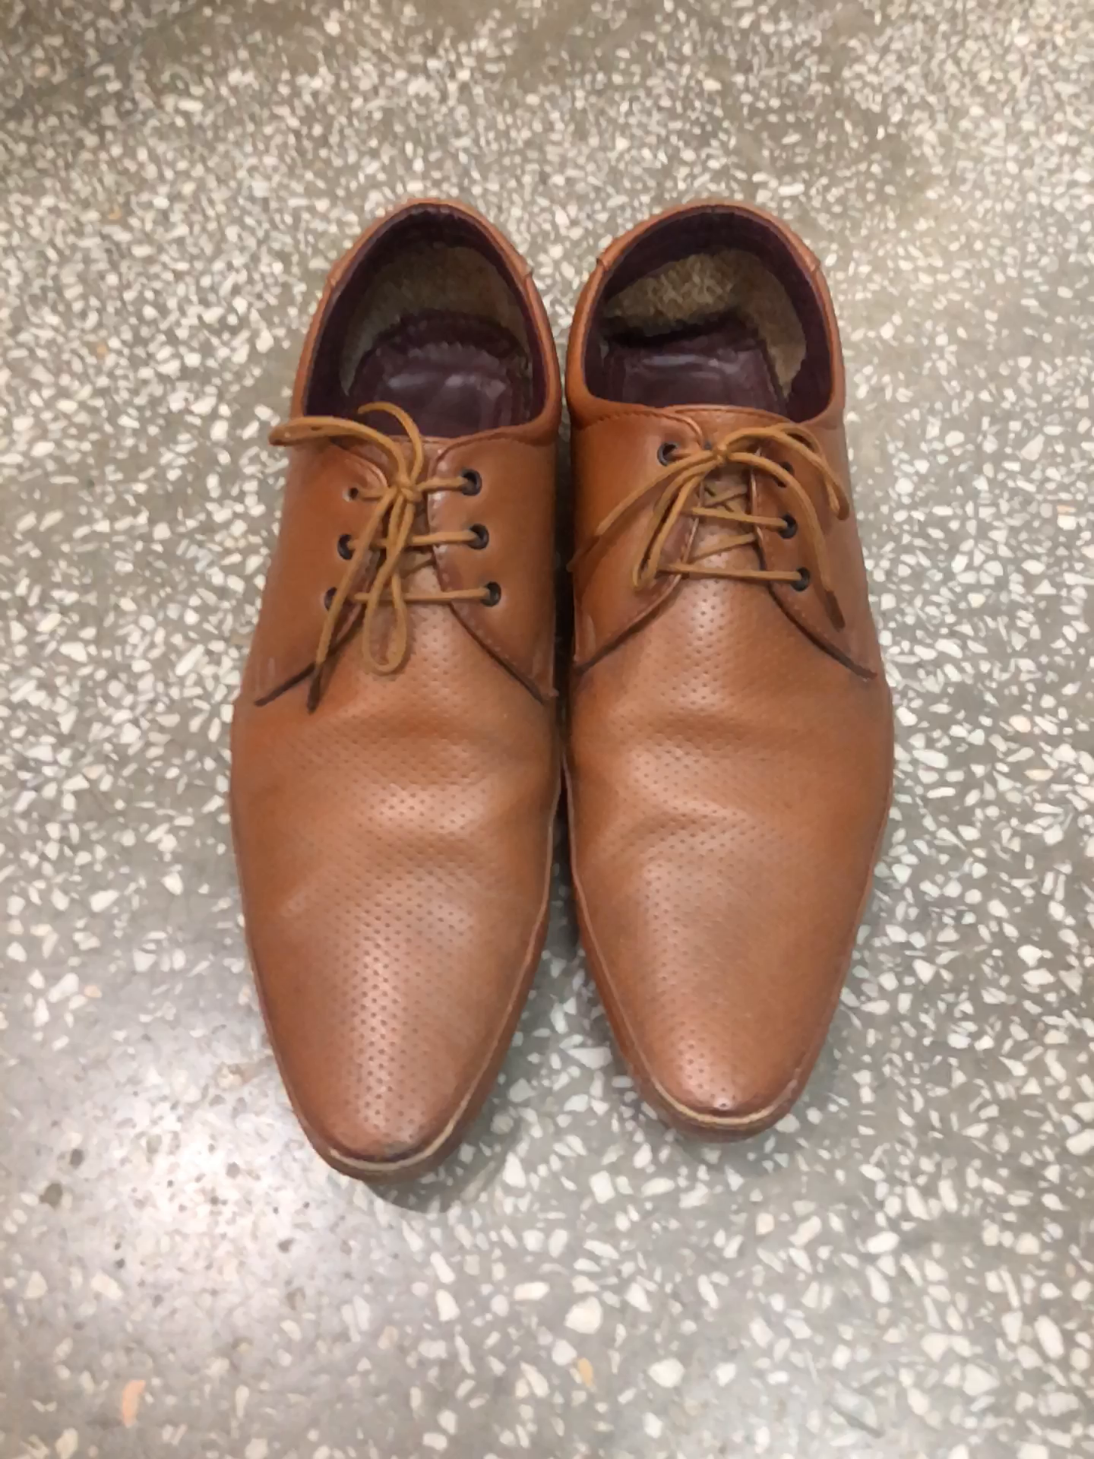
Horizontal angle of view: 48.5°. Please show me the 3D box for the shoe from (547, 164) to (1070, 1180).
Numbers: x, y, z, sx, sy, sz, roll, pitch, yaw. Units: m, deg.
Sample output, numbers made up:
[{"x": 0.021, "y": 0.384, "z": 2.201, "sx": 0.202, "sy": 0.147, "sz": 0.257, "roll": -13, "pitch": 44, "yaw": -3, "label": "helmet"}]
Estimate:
[{"x": 0.054, "y": -0.022, "z": 0.367, "sx": 0.105, "sy": 0.118, "sz": 0.285, "roll": 0, "pitch": 64, "yaw": -1, "label": "shoe"}]

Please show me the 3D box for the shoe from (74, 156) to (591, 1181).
[{"x": -0.045, "y": -0.023, "z": 0.364, "sx": 0.105, "sy": 0.118, "sz": 0.285, "roll": 0, "pitch": 64, "yaw": -1, "label": "shoe"}]
